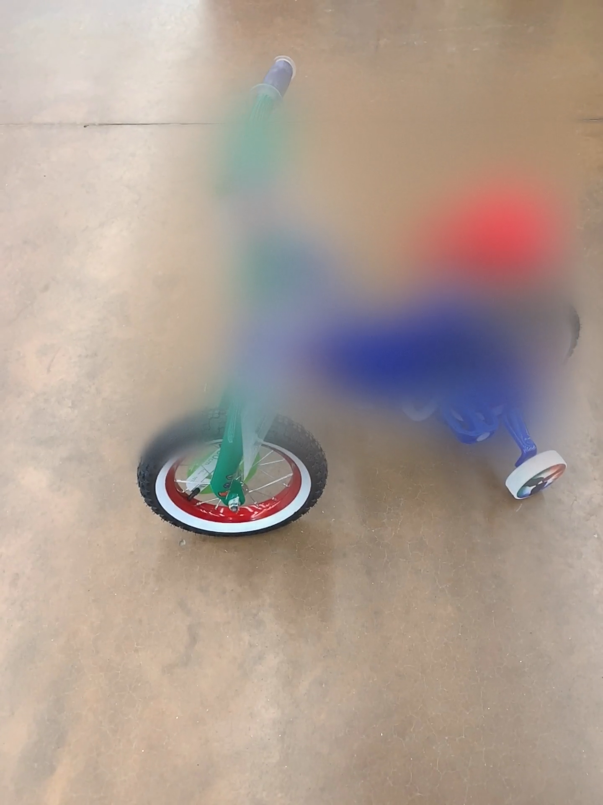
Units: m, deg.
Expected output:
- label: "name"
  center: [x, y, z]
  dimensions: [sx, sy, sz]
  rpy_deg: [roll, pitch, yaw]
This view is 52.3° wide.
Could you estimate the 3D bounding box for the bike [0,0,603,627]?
- label: "bike"
  center: [0.103, -0.129, 0.895]
  dimensions: [0.775, 0.670, 0.461]
  rpy_deg: [-19, 56, -12]
